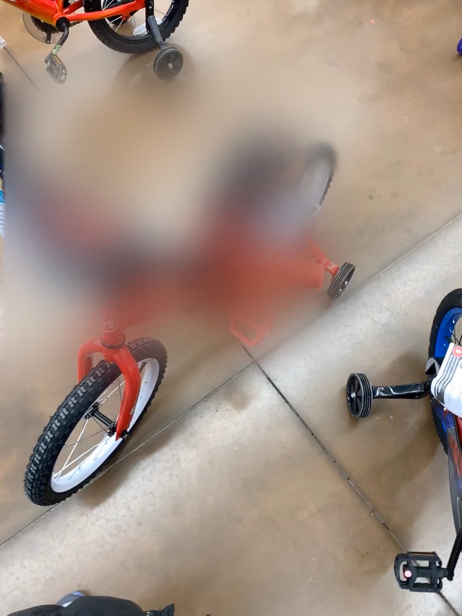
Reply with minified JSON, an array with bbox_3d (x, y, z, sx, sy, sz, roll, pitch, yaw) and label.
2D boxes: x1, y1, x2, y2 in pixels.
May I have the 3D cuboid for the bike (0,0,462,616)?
[{"bbox_3d":[-0.004,-0.090,0.953,0.515,0.956,1.142,34,64,14],"label":"bike"}]
